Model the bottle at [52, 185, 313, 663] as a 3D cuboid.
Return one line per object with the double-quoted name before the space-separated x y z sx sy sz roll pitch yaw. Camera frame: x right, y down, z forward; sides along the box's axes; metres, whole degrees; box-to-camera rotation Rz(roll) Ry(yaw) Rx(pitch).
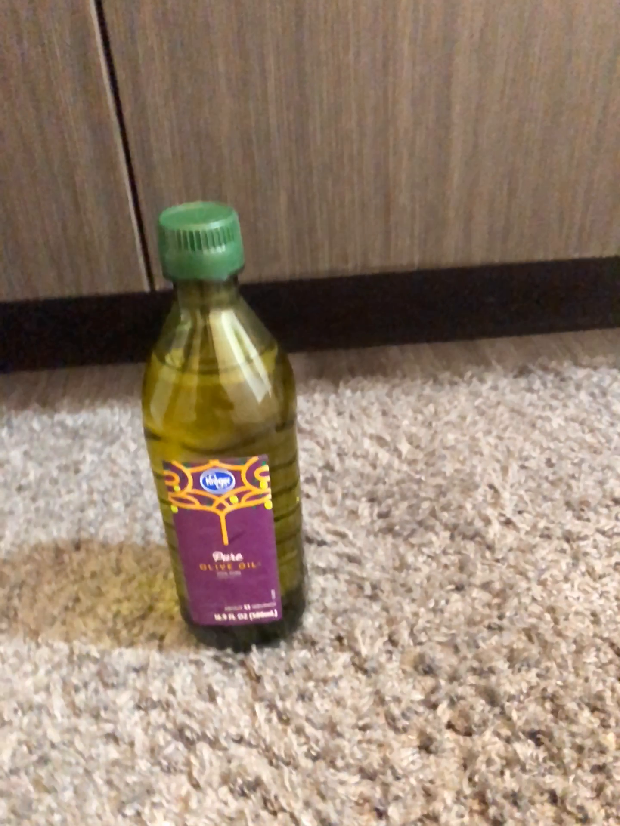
"bottle" -0.040 0.017 0.300 0.070 0.209 0.060 0 35 5
